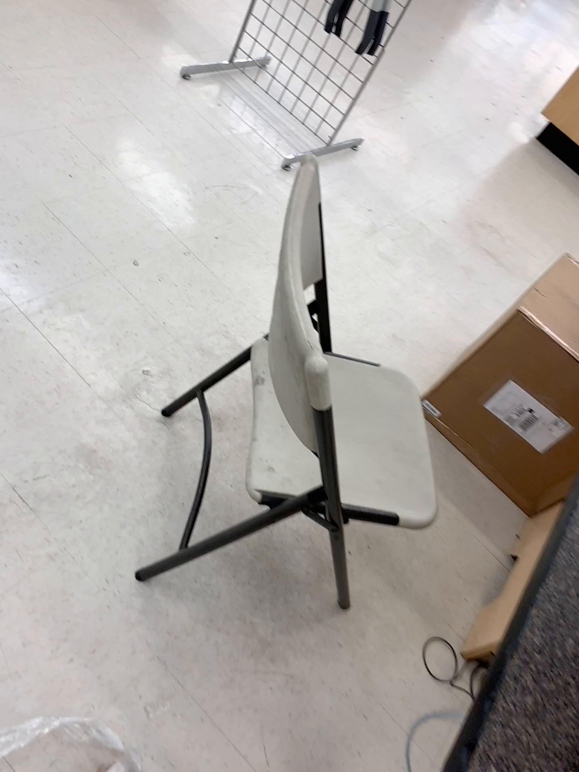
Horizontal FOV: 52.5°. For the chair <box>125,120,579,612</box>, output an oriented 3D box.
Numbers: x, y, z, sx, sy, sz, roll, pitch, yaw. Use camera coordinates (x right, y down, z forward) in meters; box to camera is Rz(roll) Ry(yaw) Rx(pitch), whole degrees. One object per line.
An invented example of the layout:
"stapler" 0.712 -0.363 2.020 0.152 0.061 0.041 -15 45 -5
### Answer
"chair" 0.070 0.045 1.176 0.561 0.747 0.532 14 50 -19
